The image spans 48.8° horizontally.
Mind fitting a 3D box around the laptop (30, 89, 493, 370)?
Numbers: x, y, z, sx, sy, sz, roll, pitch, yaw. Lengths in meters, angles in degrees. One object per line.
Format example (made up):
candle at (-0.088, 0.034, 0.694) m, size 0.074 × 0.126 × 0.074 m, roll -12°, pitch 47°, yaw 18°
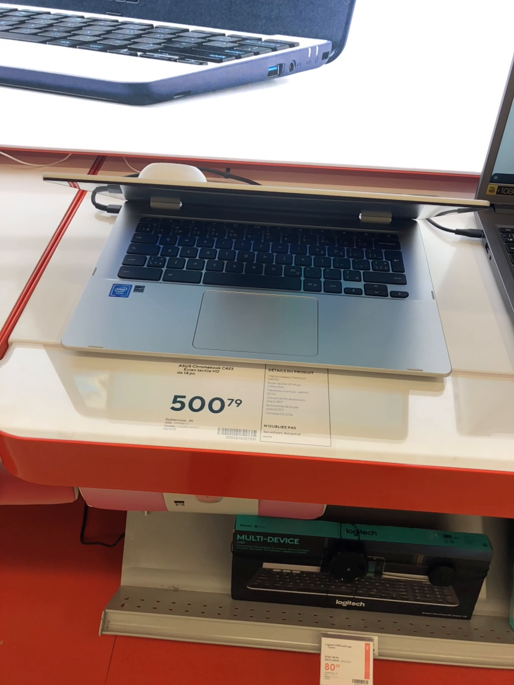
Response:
laptop at (0.009, -0.107, 0.495) m, size 0.311 × 0.119 × 0.214 m, roll 4°, pitch 45°, yaw 1°
